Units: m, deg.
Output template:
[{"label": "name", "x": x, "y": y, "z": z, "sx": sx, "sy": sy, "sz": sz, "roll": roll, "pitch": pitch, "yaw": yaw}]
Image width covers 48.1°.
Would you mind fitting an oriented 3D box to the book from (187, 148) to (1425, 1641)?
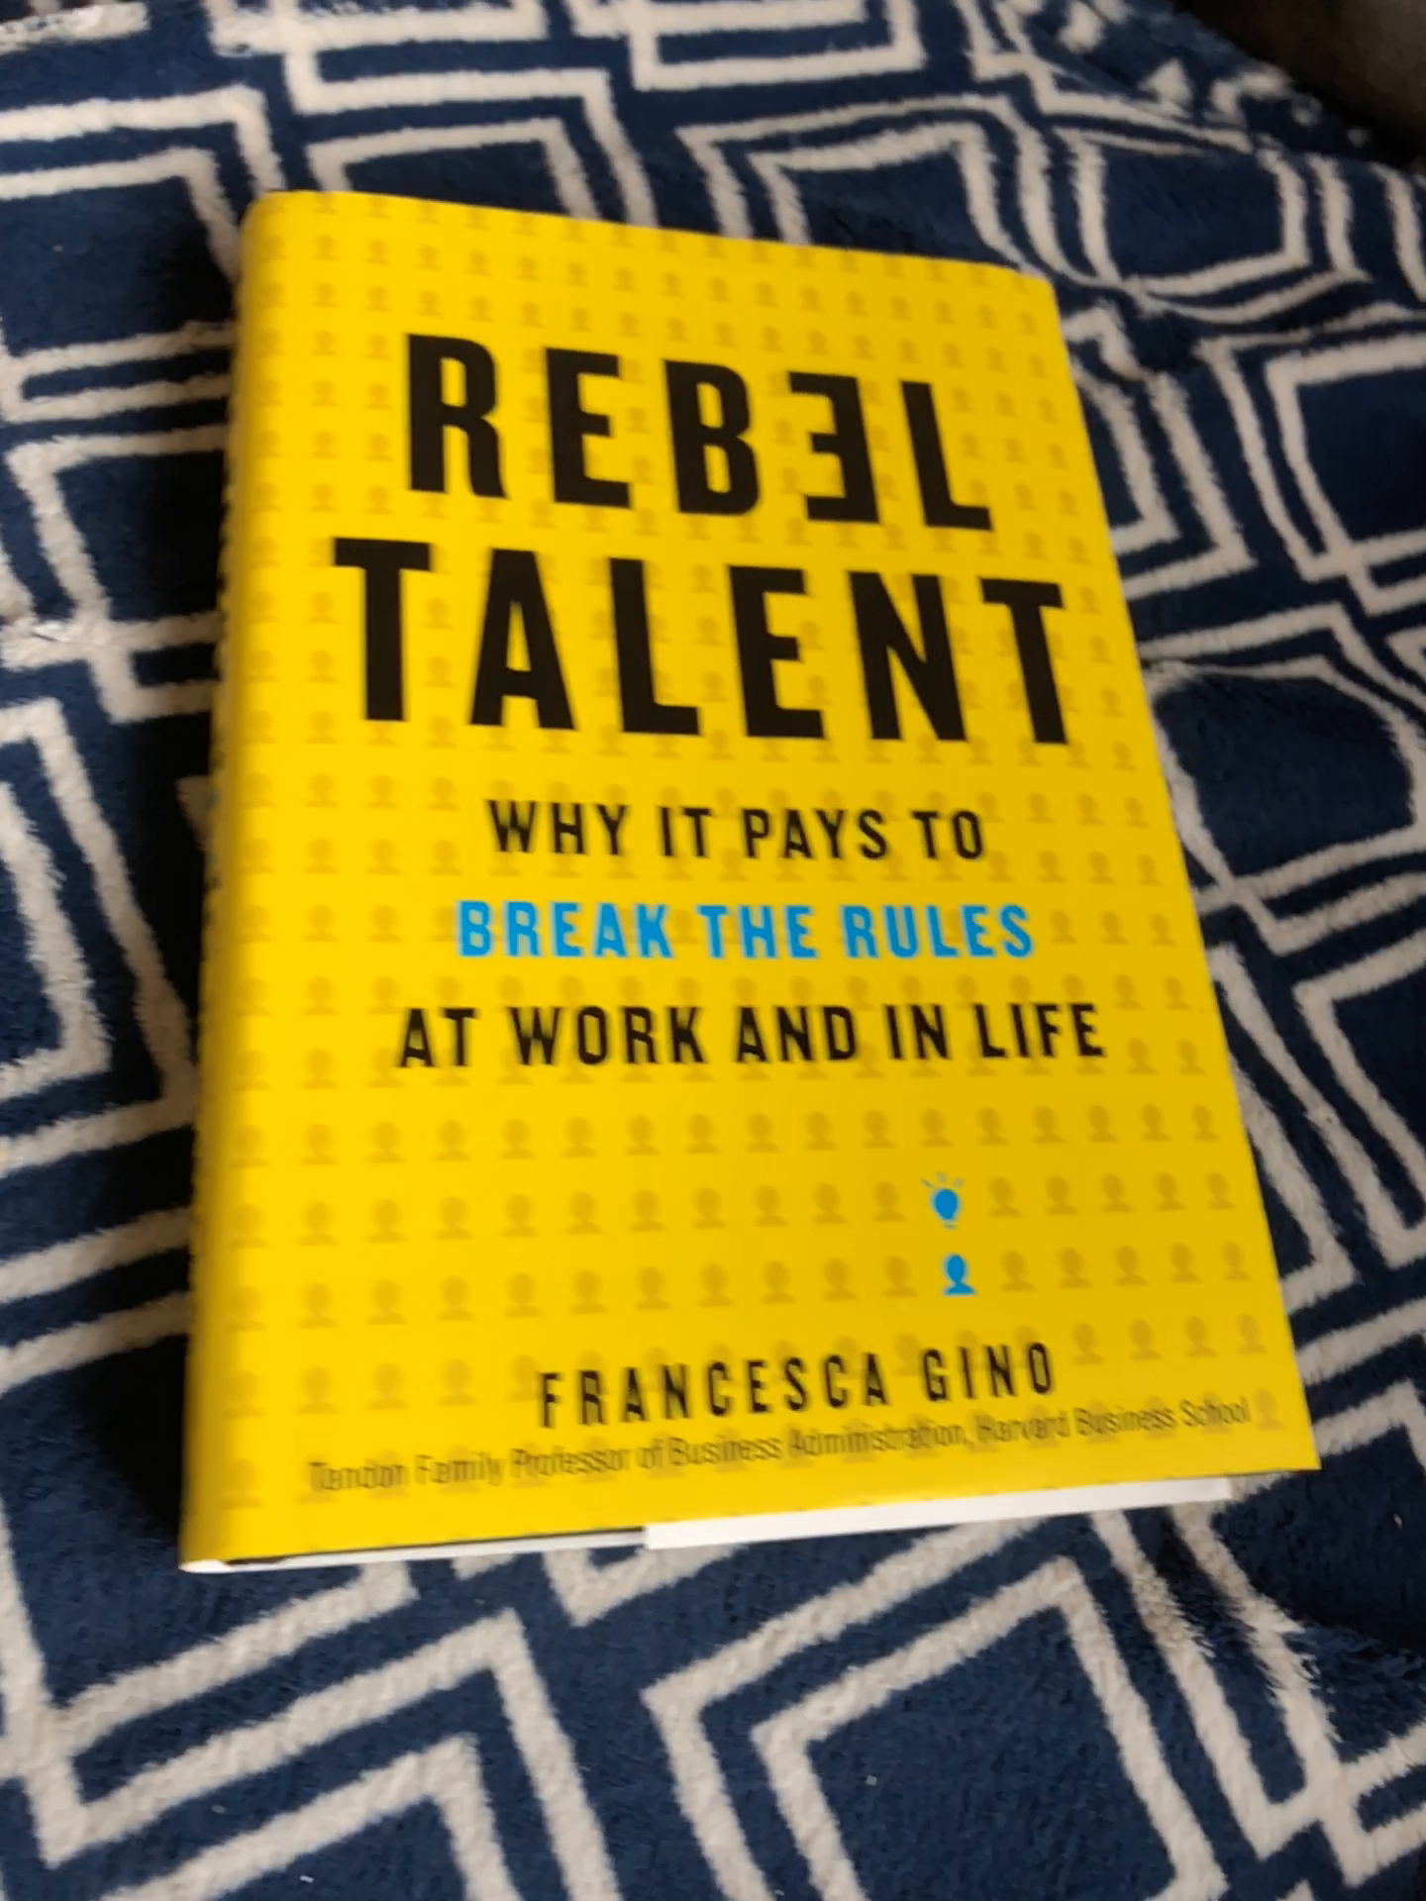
[{"label": "book", "x": 0.006, "y": -0.024, "z": 0.263, "sx": 0.167, "sy": 0.032, "sz": 0.237, "roll": 1, "pitch": 65, "yaw": -15}]
